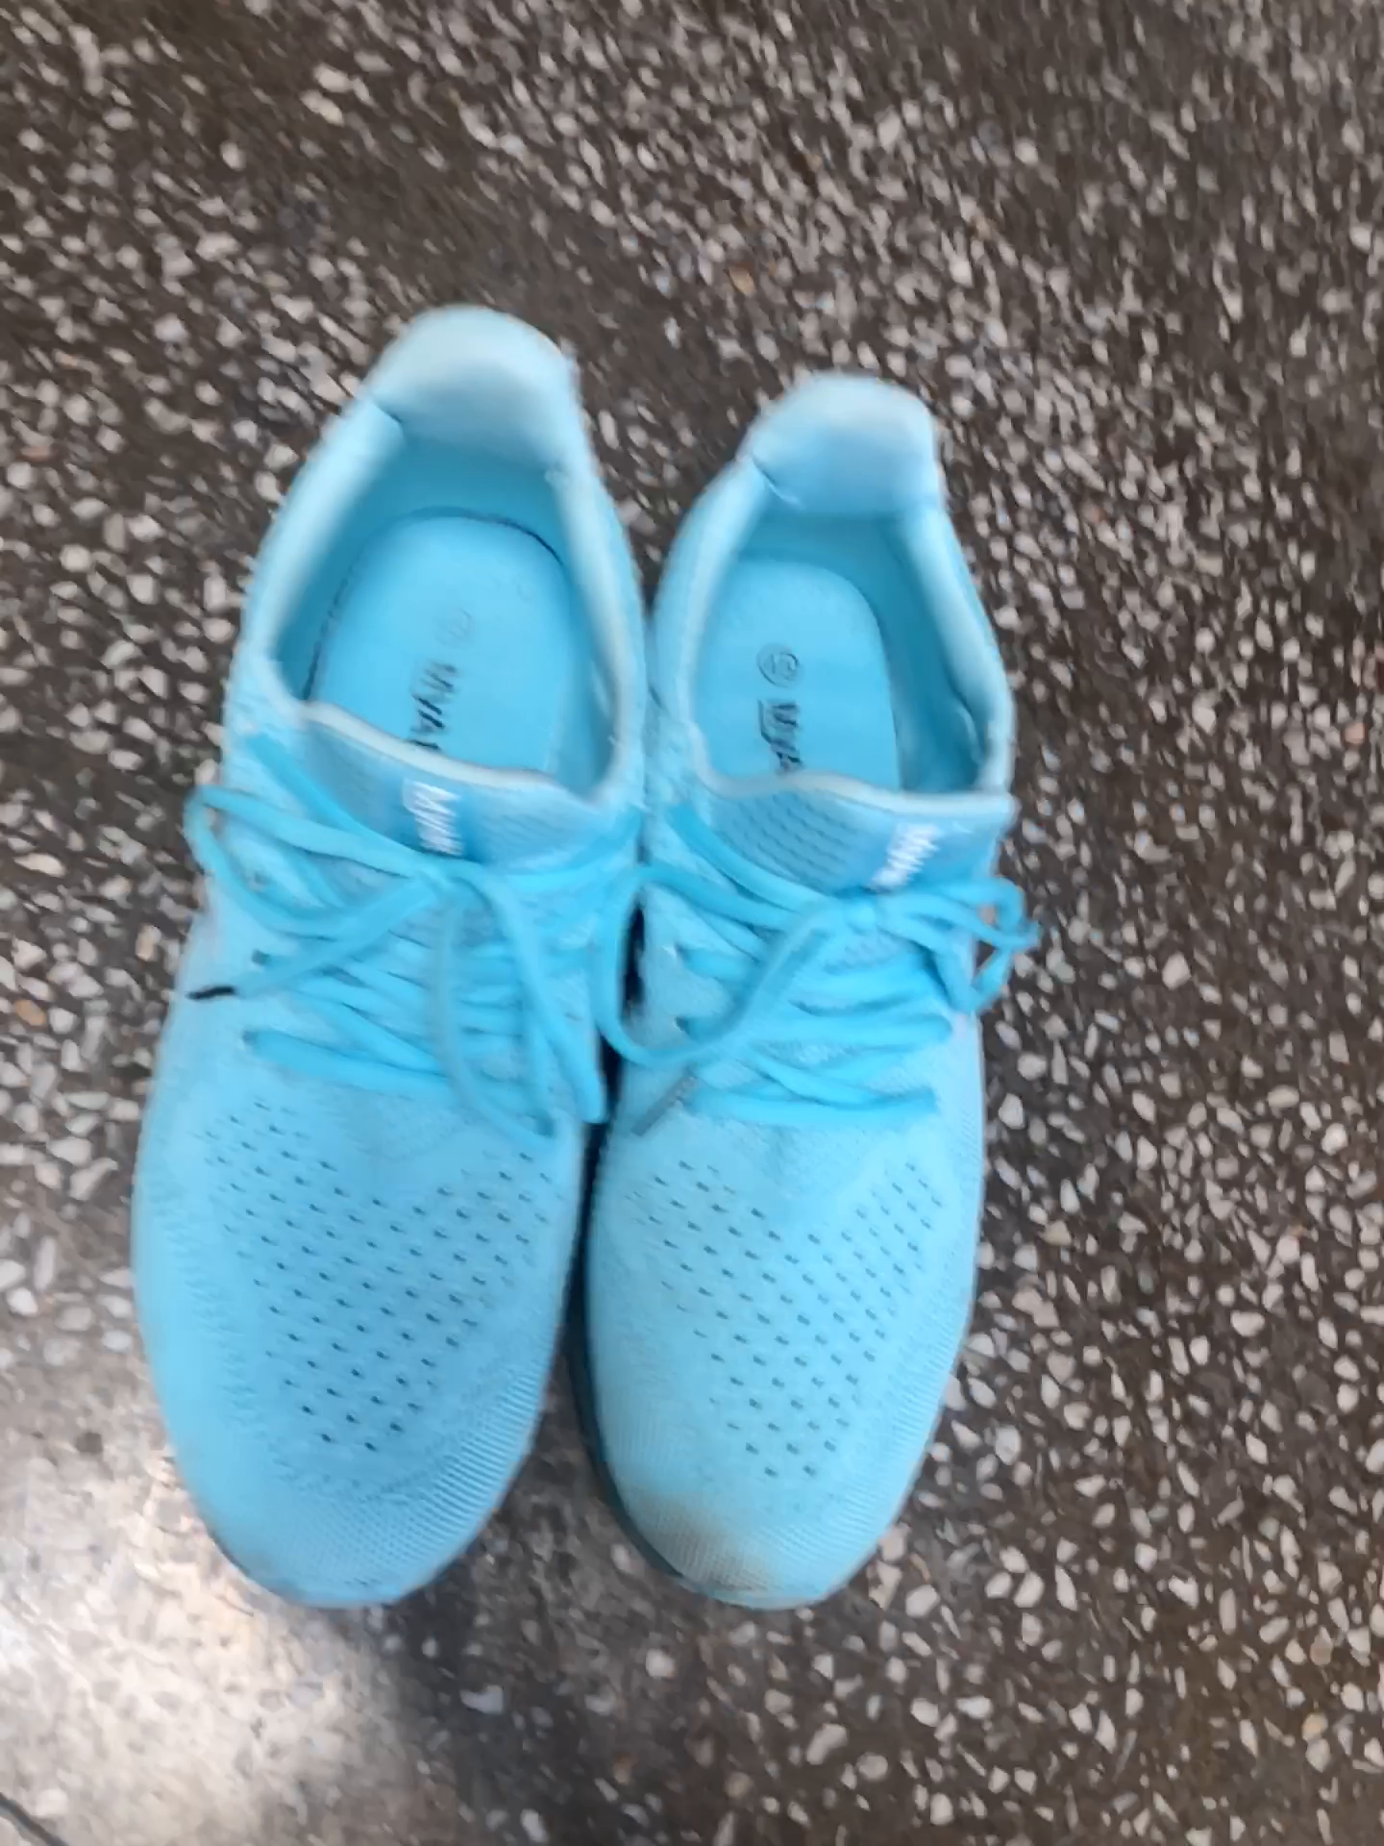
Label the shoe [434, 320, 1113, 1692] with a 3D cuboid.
[{"bbox_3d":[0.014,0.021,0.368,0.120,0.125,0.271,6,74,-9],"label":"shoe"}]

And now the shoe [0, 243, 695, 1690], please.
[{"bbox_3d":[-0.081,0.011,0.353,0.120,0.125,0.271,8,74,-9],"label":"shoe"}]
